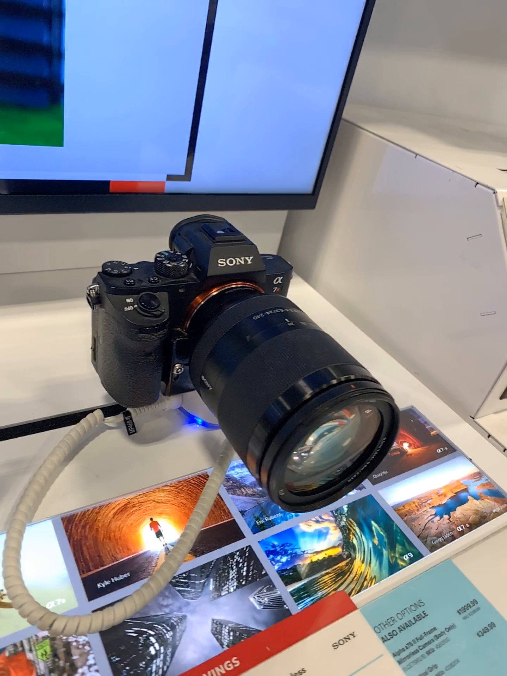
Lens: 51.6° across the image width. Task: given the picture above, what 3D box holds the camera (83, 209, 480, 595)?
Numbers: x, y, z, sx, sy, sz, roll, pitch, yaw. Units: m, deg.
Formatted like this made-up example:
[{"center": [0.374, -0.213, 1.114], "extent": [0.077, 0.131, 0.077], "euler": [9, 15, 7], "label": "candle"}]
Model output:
[{"center": [-0.003, 0.013, 0.293], "extent": [0.130, 0.099, 0.173], "euler": [-11, 41, -32], "label": "camera"}]
